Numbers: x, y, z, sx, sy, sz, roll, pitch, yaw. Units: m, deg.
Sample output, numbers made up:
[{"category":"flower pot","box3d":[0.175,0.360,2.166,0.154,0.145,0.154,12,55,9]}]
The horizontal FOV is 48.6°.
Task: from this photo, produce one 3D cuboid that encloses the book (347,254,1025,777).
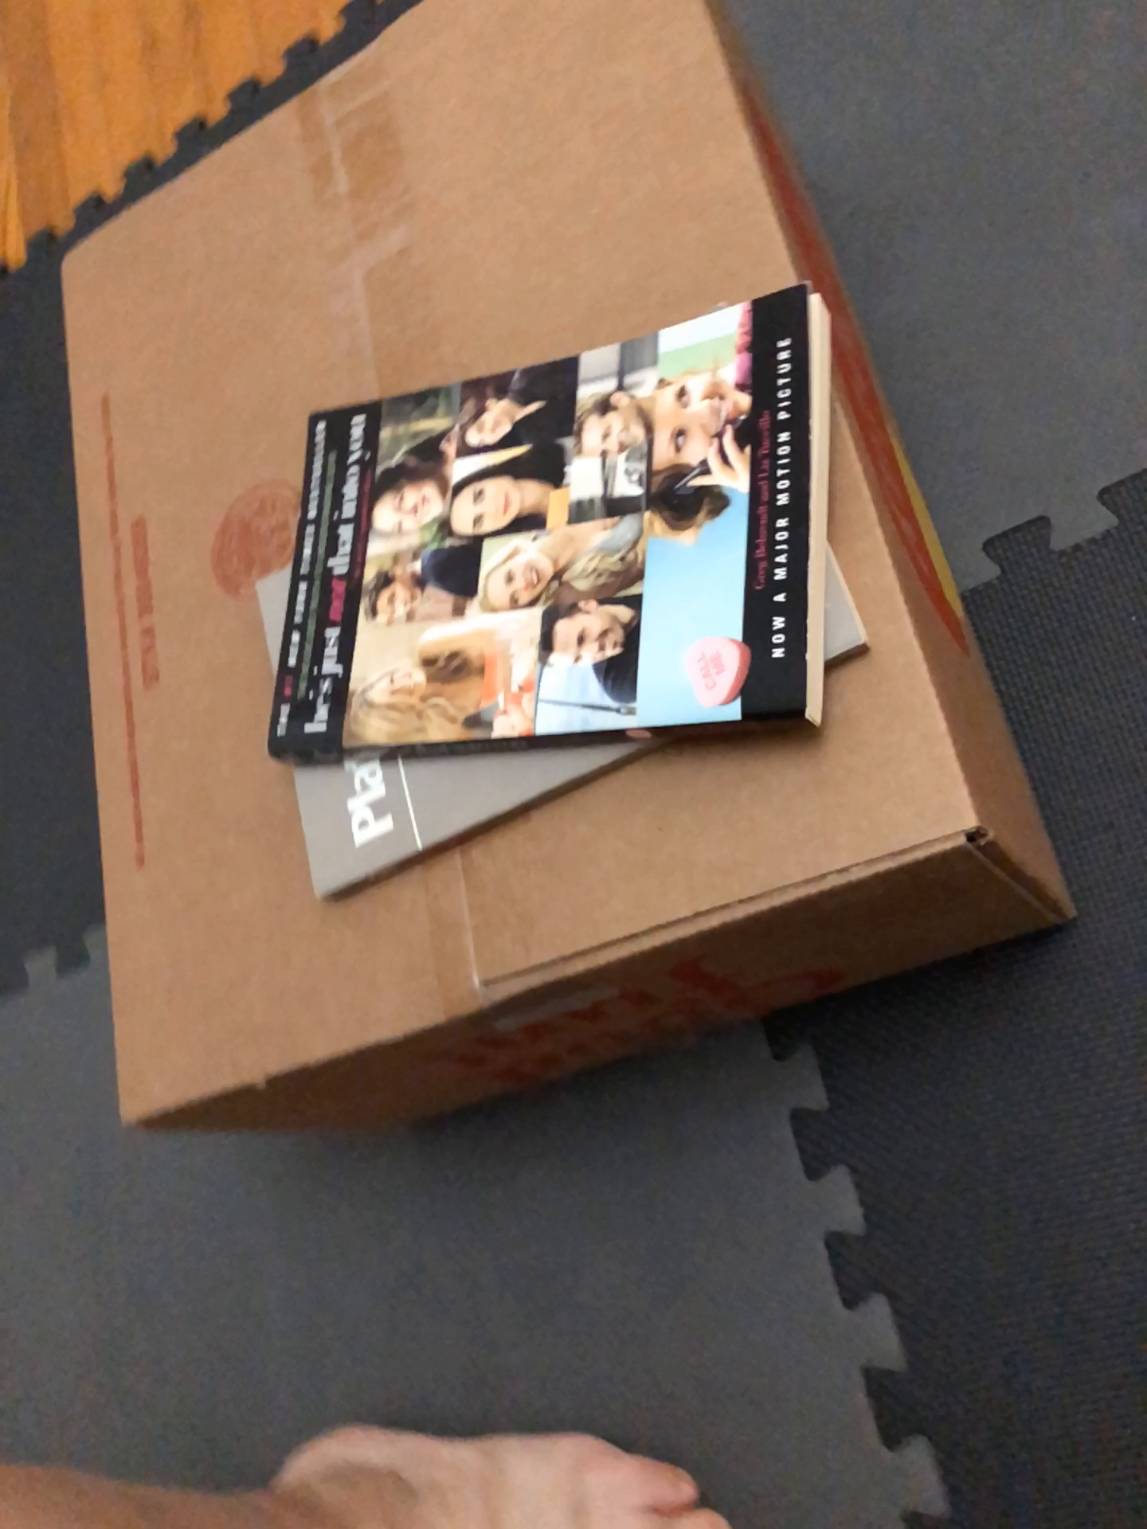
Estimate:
[{"category":"book","box3d":[0.028,-0.075,0.424,0.231,0.010,0.150,-3,75,28]}]
